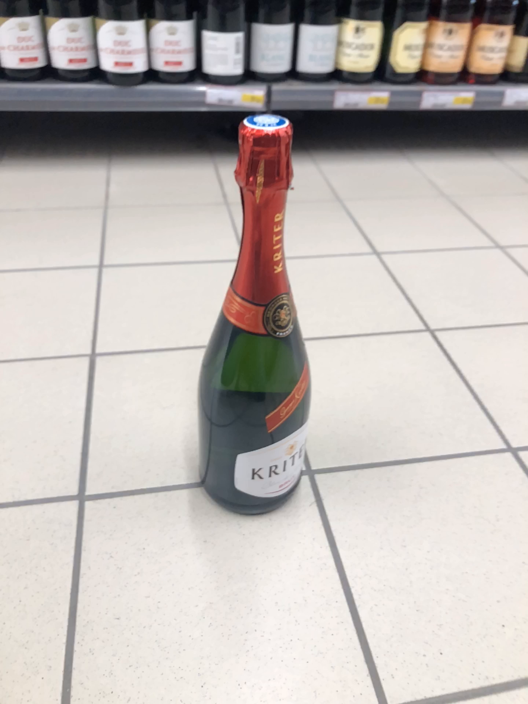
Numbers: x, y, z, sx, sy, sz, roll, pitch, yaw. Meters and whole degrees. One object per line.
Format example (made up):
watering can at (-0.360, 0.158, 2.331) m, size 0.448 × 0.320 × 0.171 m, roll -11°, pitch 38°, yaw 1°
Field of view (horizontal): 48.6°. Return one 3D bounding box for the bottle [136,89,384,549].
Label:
bottle at (-0.010, -0.012, 0.416) m, size 0.100 × 0.298 × 0.100 m, roll 2°, pitch 36°, yaw -2°
